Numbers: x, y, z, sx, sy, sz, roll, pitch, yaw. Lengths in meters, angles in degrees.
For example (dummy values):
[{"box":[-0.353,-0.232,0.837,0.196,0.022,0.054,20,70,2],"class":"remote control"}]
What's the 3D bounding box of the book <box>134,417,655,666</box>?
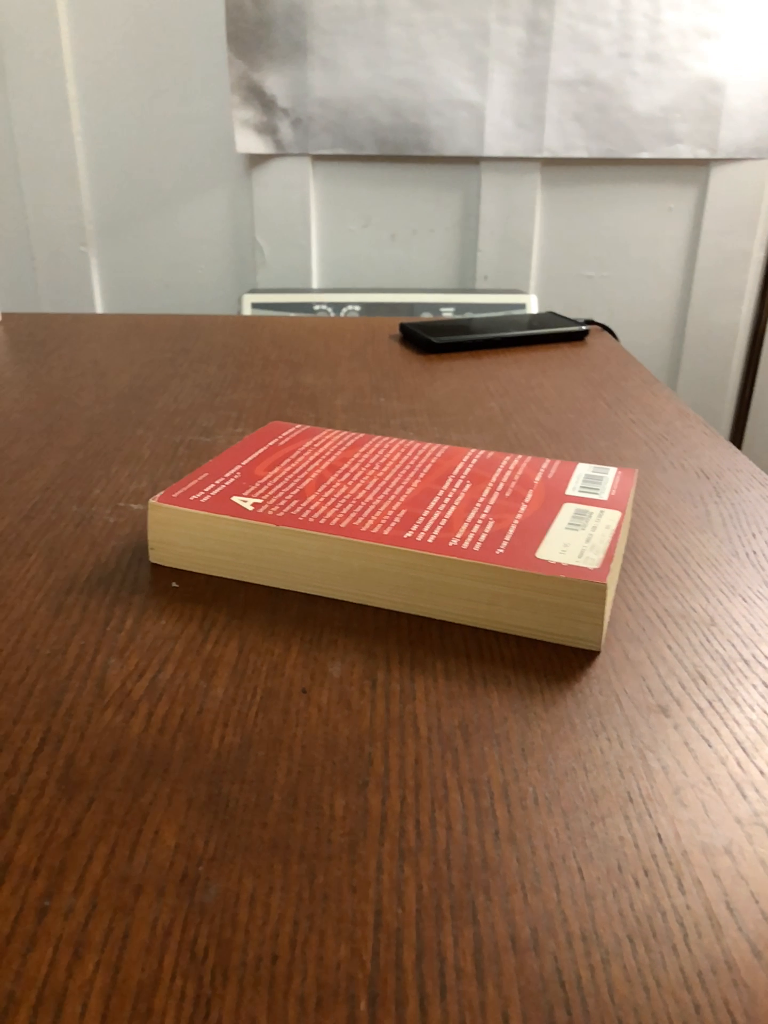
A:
[{"box":[0.014,0.001,0.404,0.210,0.030,0.141,9,25,17],"class":"book"}]
